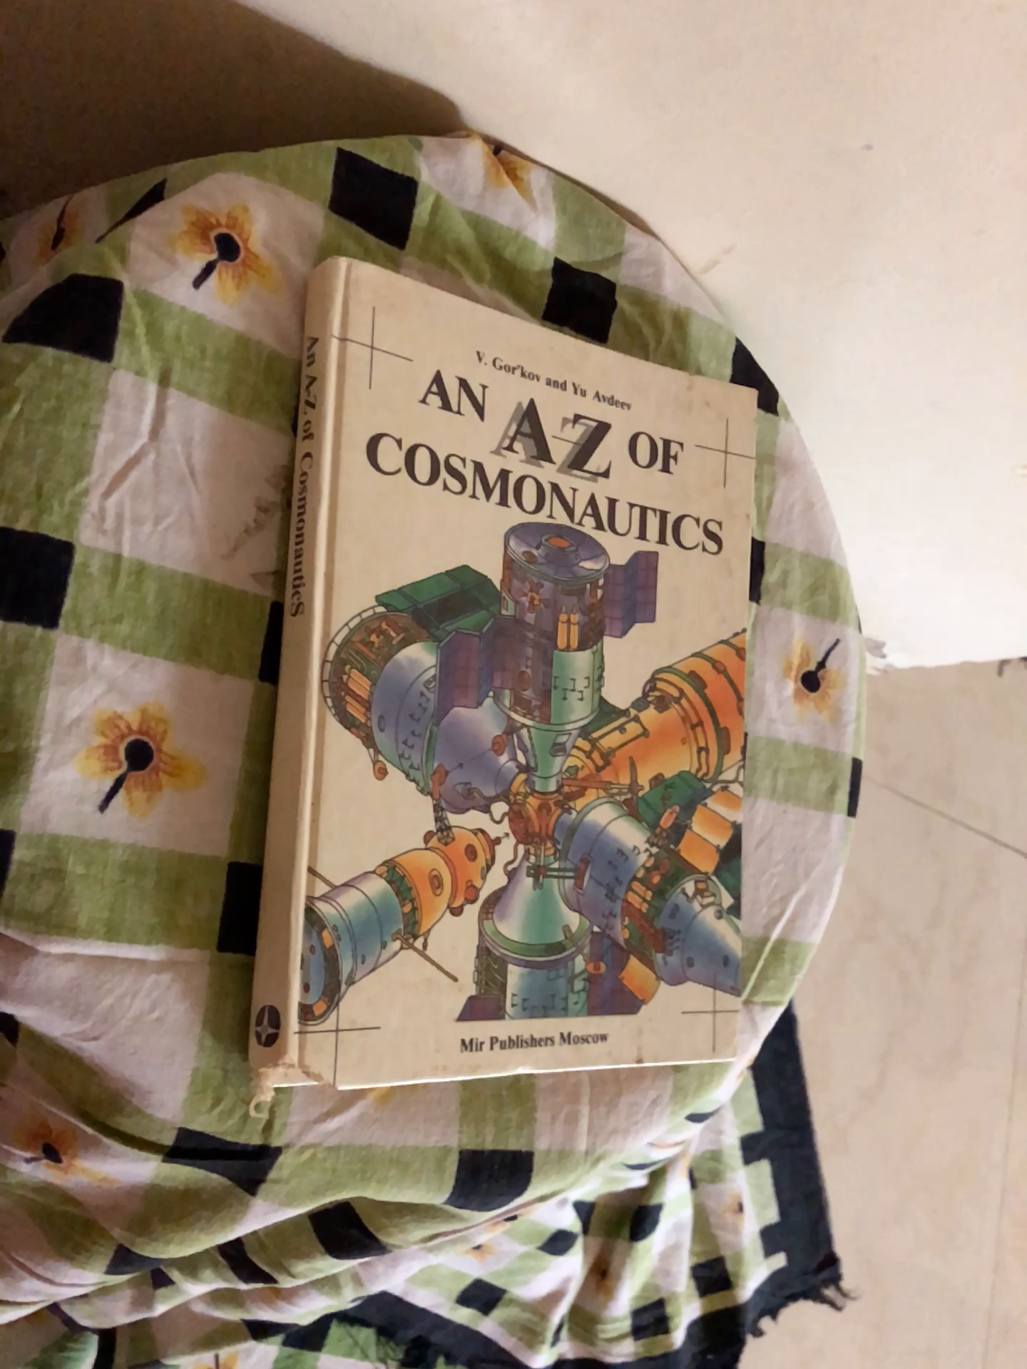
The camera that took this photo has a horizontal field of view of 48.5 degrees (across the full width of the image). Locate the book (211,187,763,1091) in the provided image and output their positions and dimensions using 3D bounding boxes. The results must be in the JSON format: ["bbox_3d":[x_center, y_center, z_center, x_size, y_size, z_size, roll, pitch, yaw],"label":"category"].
[{"bbox_3d":[0.002,-0.007,0.409,0.181,0.060,0.270,9,79,-34],"label":"book"}]
